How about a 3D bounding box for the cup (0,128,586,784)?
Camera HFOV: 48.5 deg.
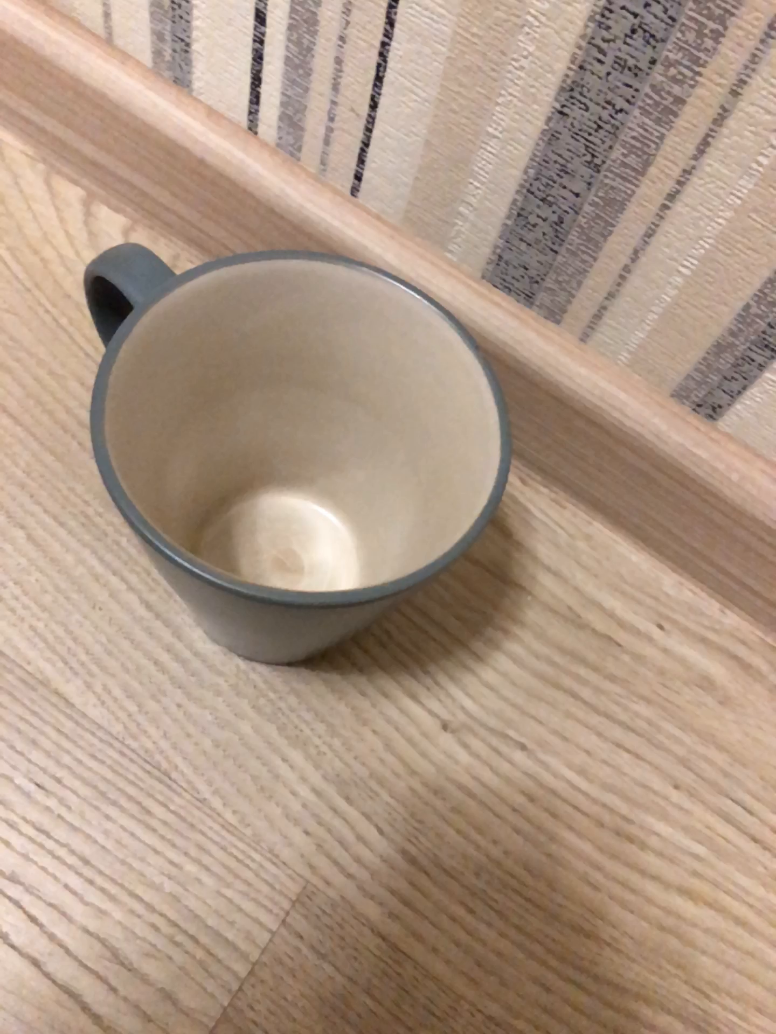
[{"bbox_3d":[-0.037,-0.016,0.238,0.096,0.089,0.124,-39,76,-27],"label":"cup"}]
